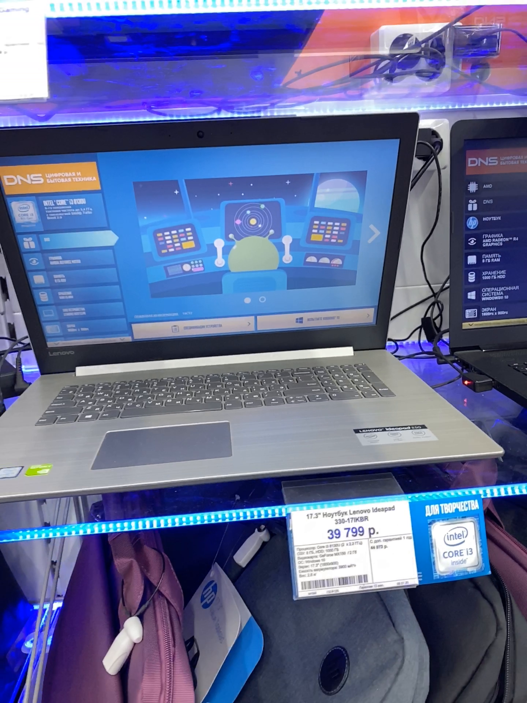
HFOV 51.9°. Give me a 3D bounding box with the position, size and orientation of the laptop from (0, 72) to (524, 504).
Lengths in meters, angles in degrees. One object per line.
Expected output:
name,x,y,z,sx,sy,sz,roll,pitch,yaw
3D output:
laptop,-0.052,-0.072,0.487,0.417,0.256,0.280,-4,15,-4
